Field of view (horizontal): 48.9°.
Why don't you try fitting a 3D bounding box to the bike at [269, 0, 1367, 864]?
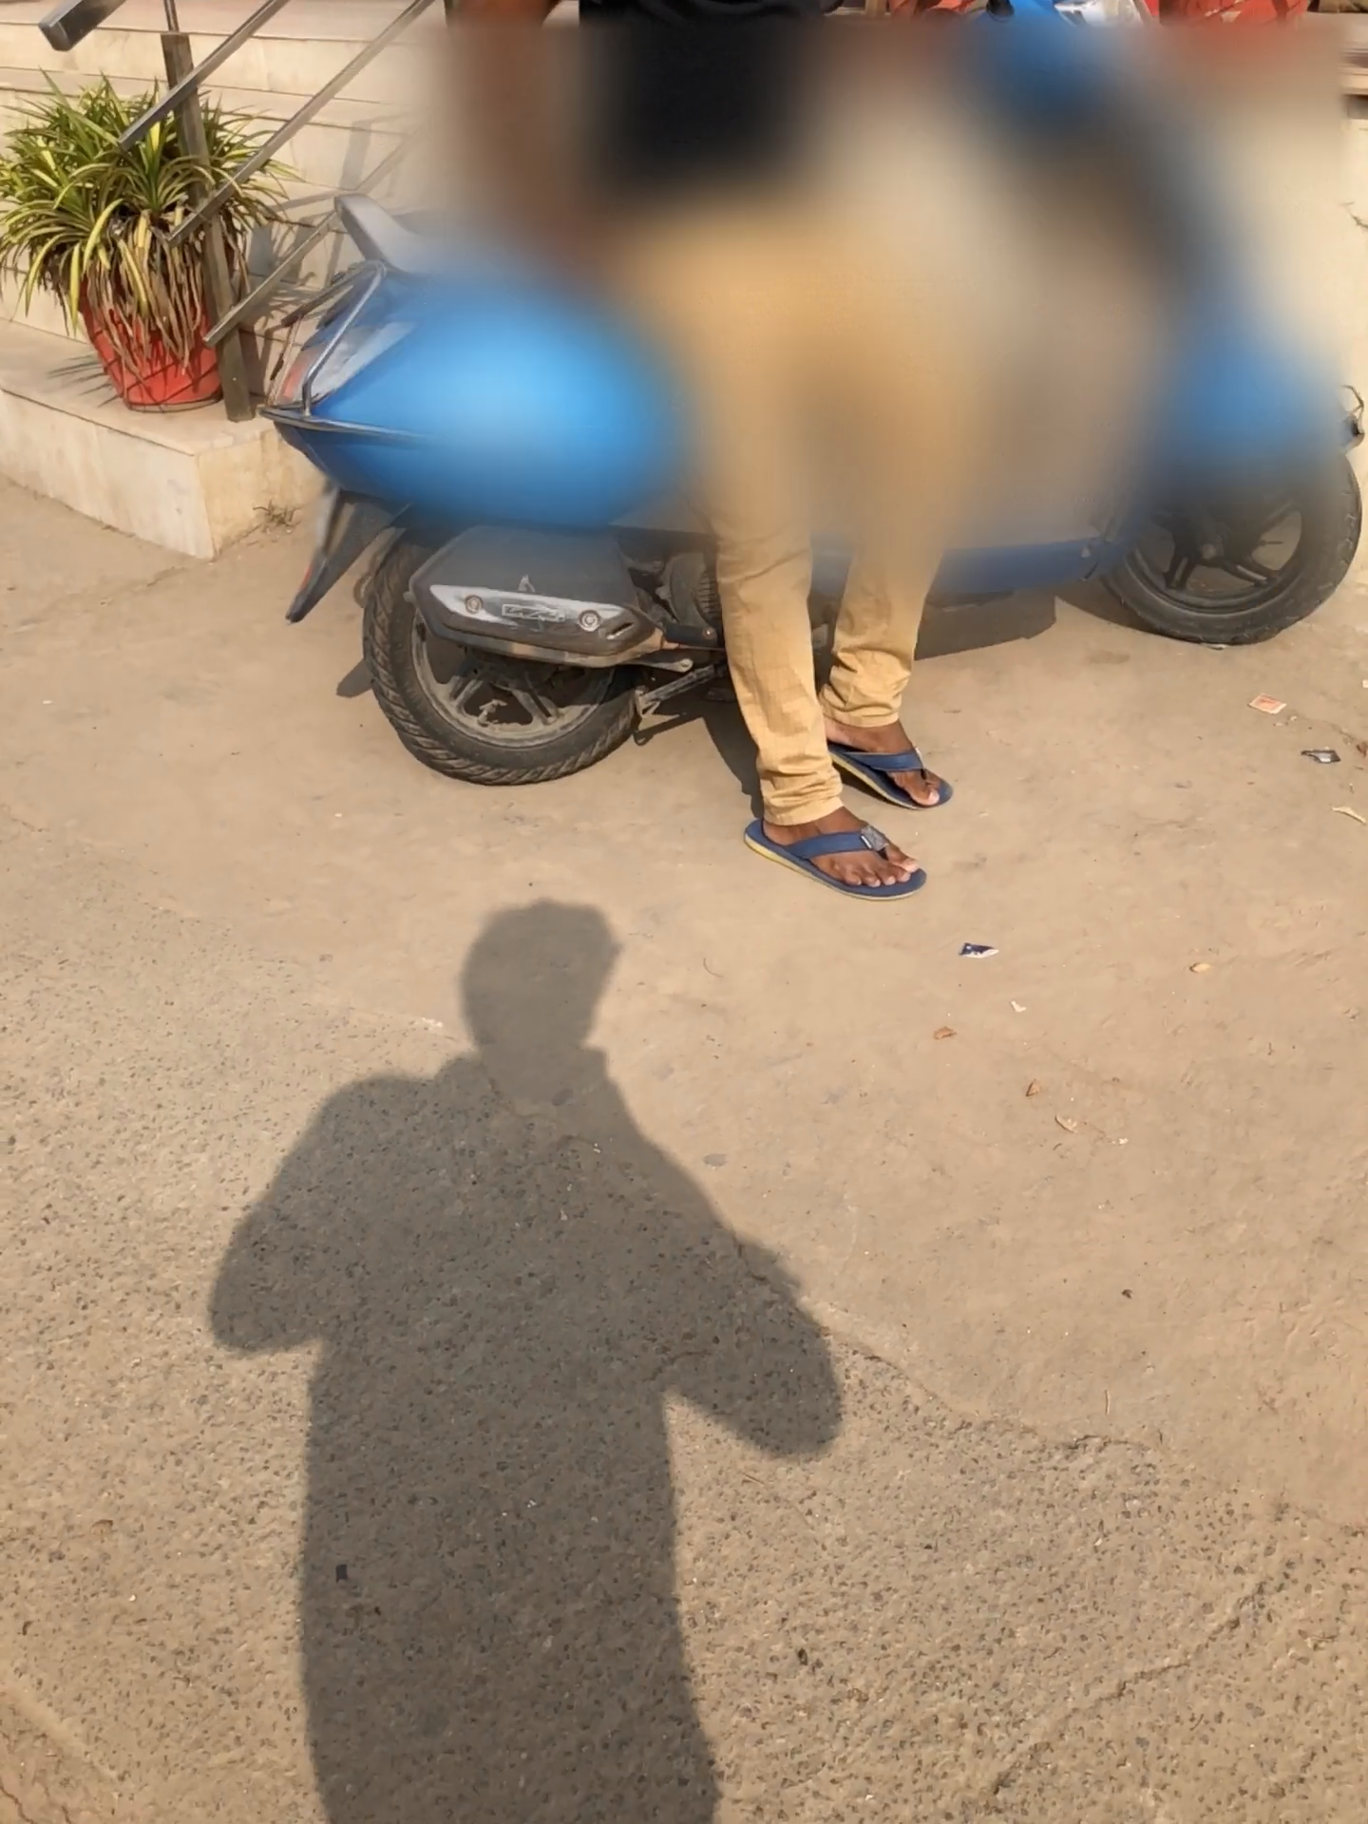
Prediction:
[{"bbox_3d":[0.312,-0.783,2.198,1.570,1.021,0.597,-10,34,-9],"label":"bike"}]
